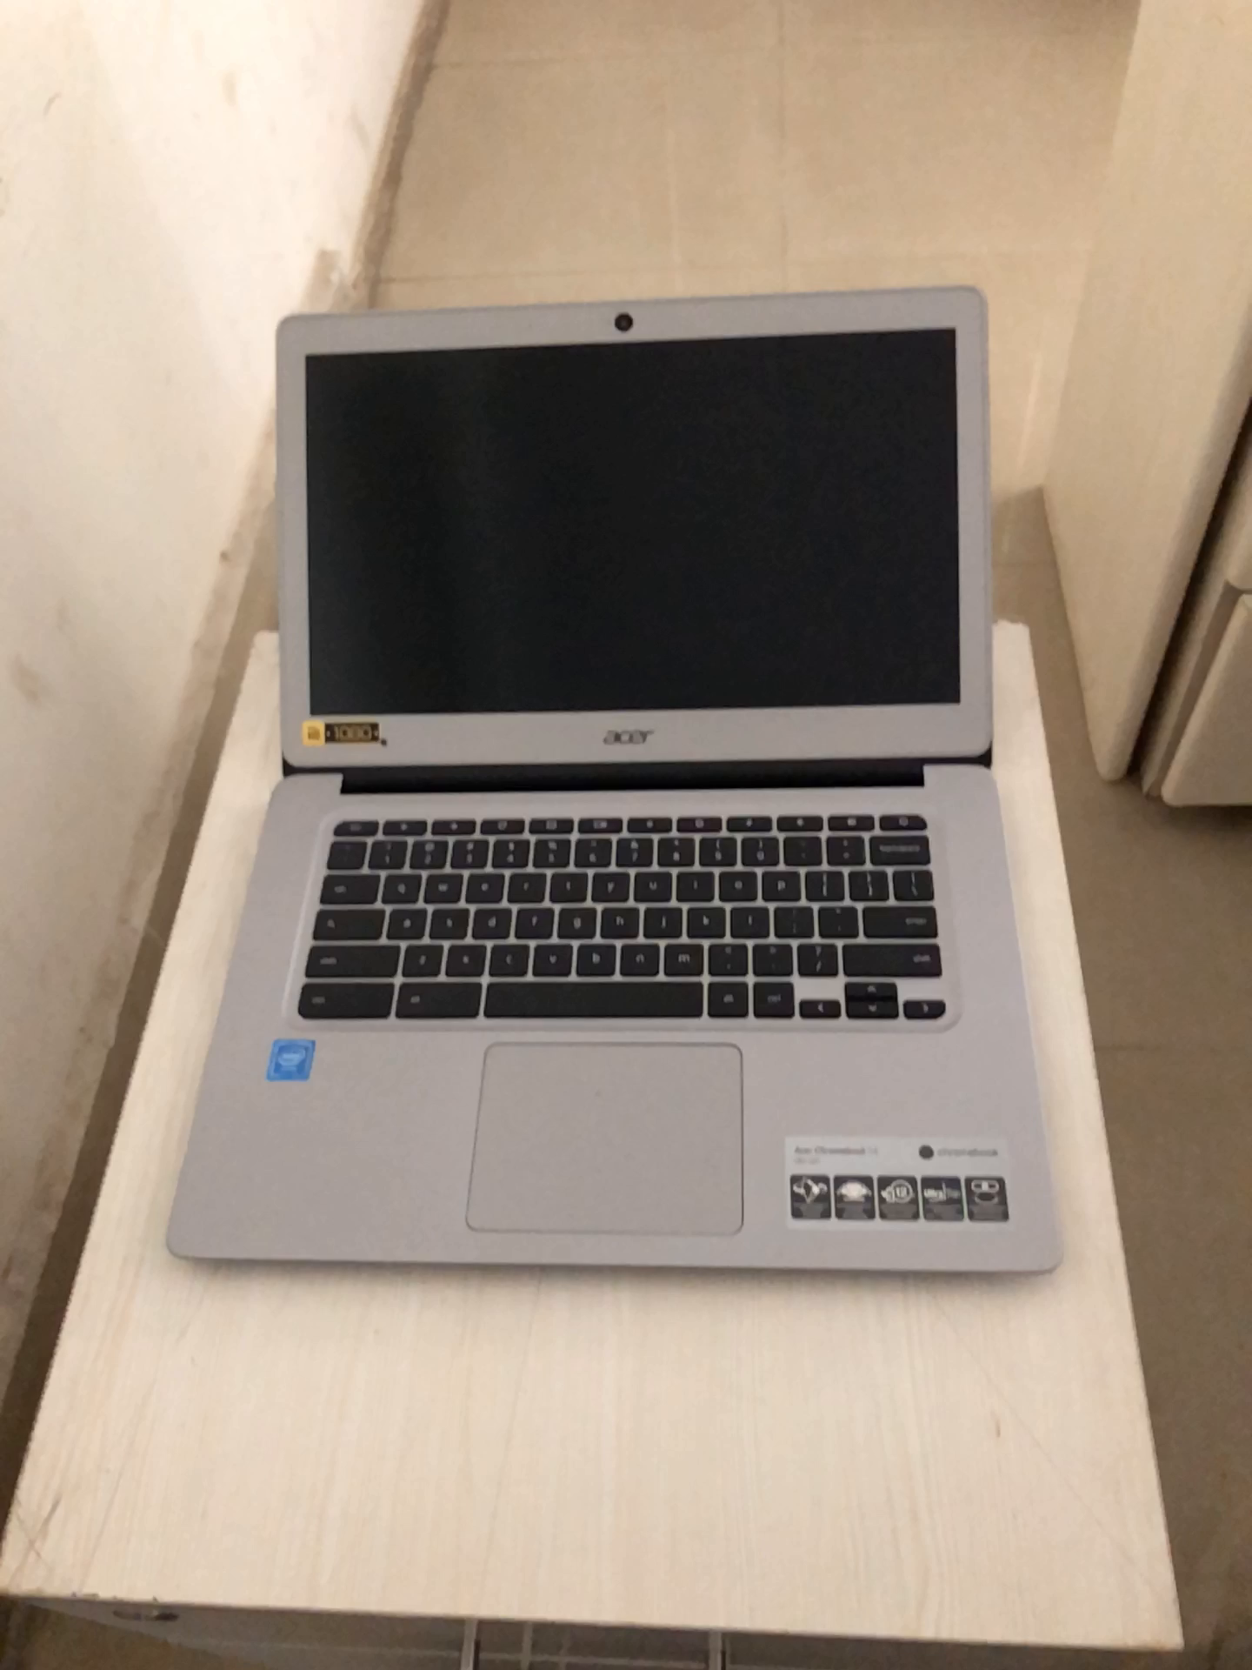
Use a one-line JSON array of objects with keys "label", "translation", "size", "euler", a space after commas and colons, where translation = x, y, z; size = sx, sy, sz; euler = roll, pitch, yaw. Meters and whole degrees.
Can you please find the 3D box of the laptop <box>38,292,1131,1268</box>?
[{"label": "laptop", "translation": [-0.004, -0.044, 0.585], "size": [0.332, 0.126, 0.409], "euler": [0, 55, 5]}]
